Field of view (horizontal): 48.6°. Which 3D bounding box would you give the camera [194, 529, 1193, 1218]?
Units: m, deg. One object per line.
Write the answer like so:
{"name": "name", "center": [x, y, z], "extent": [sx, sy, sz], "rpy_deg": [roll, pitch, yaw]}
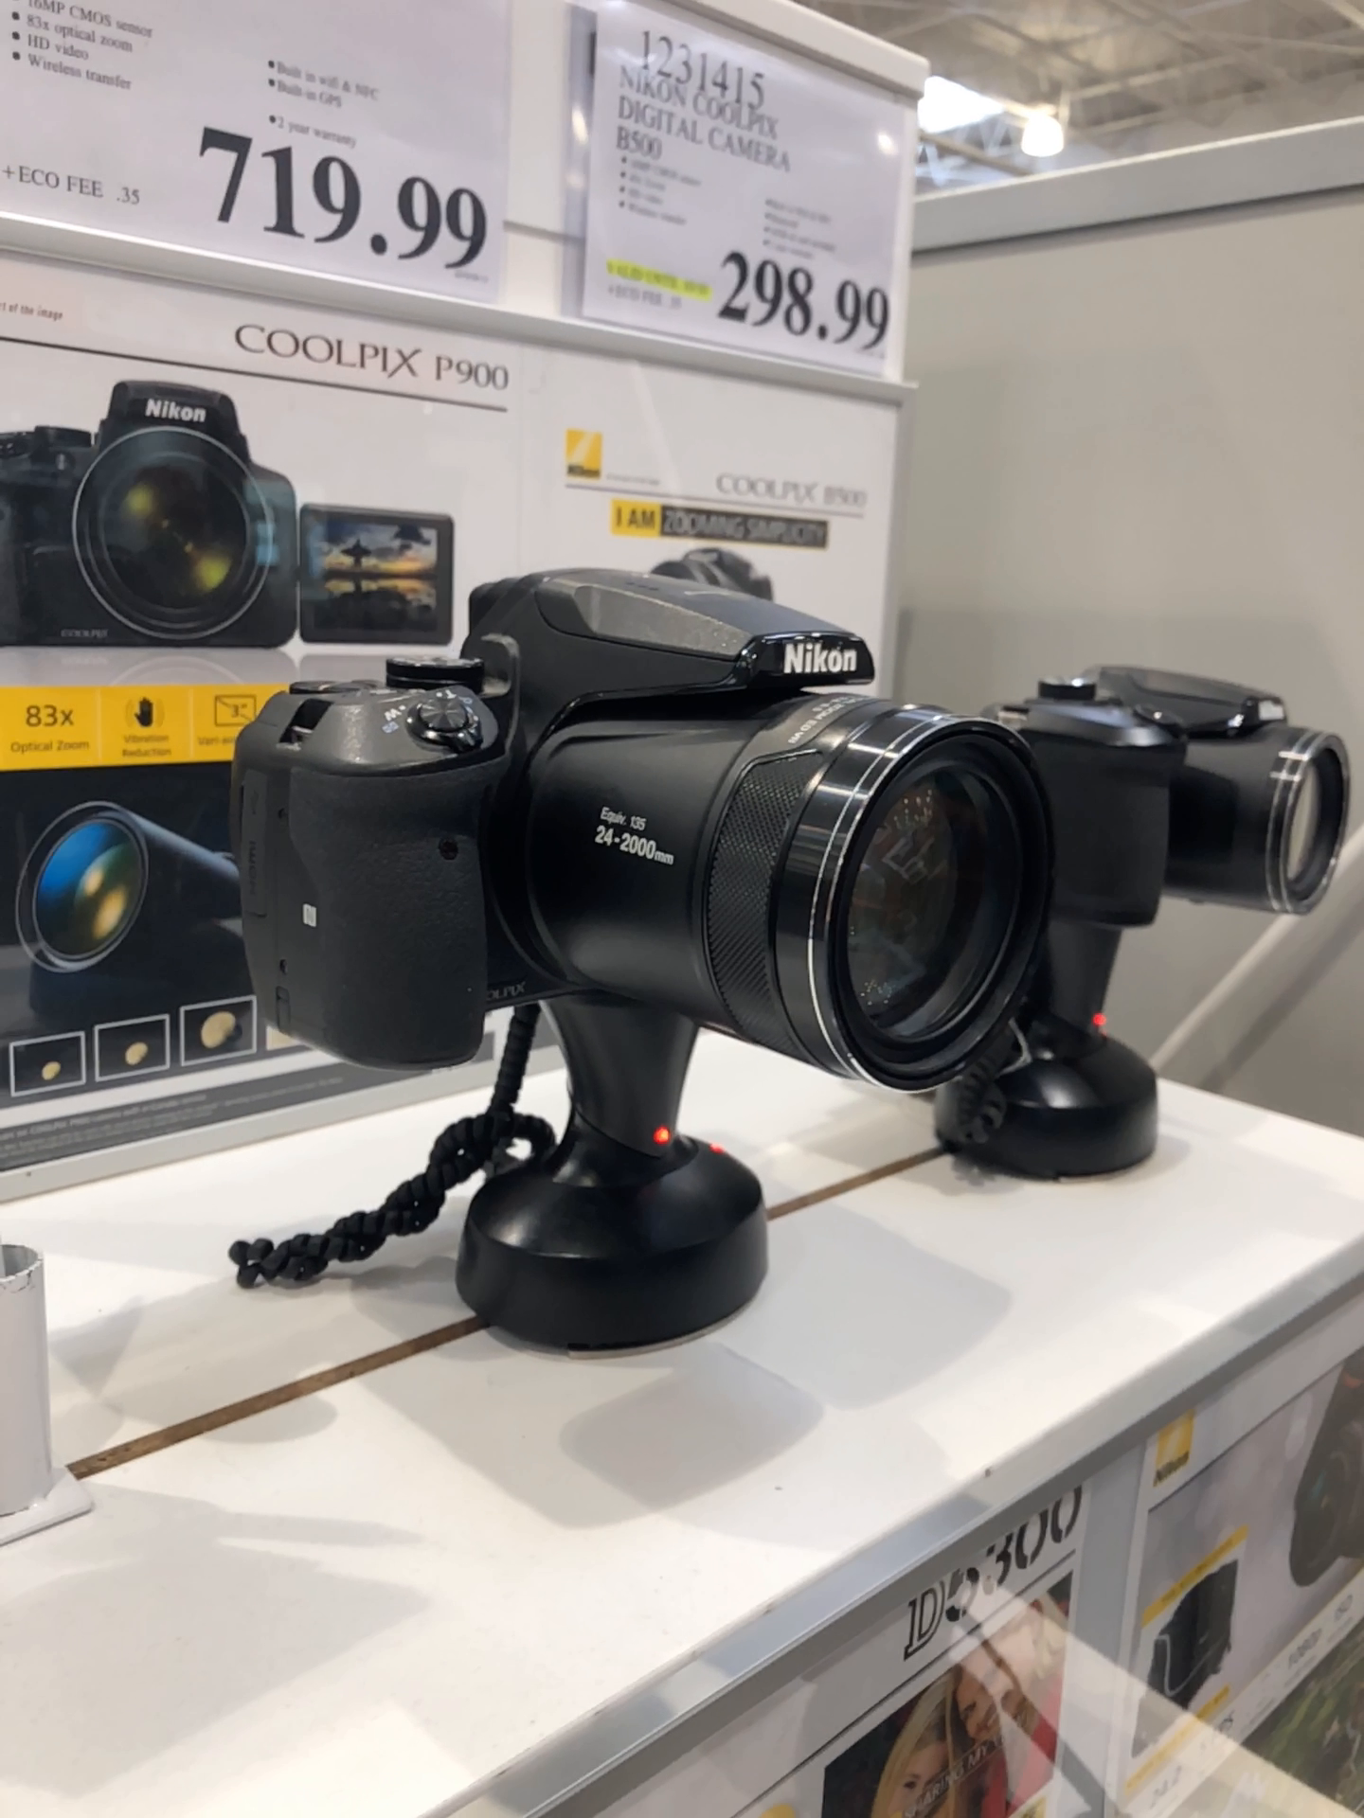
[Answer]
{"name": "camera", "center": [0.000, -0.024, 0.321], "extent": [0.150, 0.100, 0.140], "rpy_deg": [-9, 17, -42]}
